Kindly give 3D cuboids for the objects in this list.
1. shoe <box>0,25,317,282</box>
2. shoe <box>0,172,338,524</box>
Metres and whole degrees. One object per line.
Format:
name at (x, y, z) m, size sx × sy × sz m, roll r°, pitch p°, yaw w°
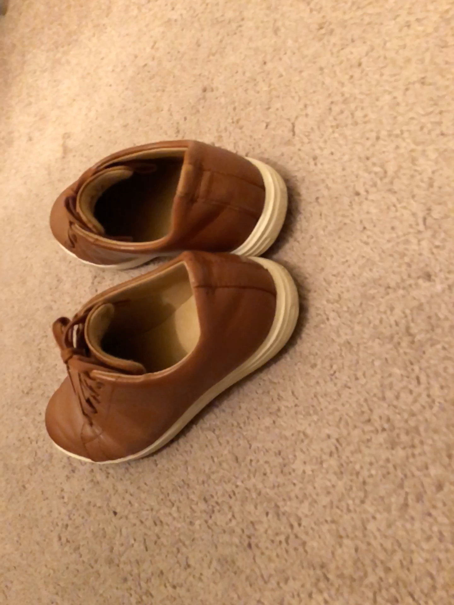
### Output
shoe at (-0.081, -0.085, 0.399) m, size 0.286 × 0.102 × 0.117 m, roll 1°, pitch 83°, yaw 45°
shoe at (-0.079, 0.056, 0.369) m, size 0.285 × 0.100 × 0.117 m, roll -38°, pitch 57°, yaw 34°
